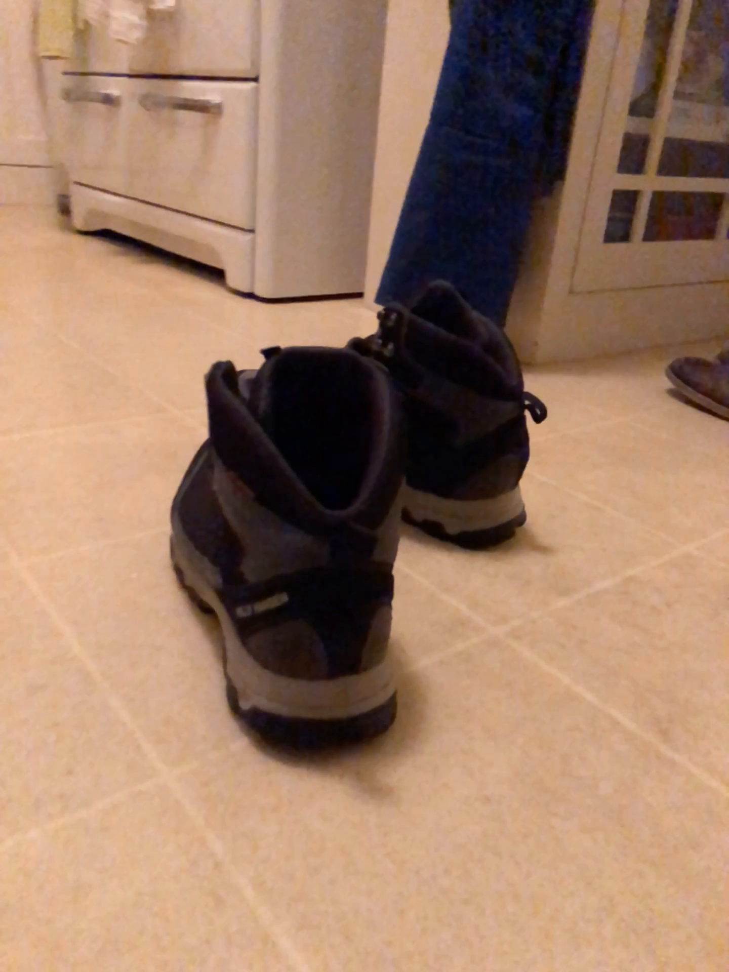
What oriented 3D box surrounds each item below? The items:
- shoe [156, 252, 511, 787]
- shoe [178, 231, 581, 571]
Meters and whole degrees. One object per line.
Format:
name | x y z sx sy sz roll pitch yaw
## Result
shoe | -0.052 -0.015 0.485 0.126 0.195 0.310 -2 25 -17
shoe | -0.003 -0.087 0.659 0.299 0.195 0.117 18 26 27
